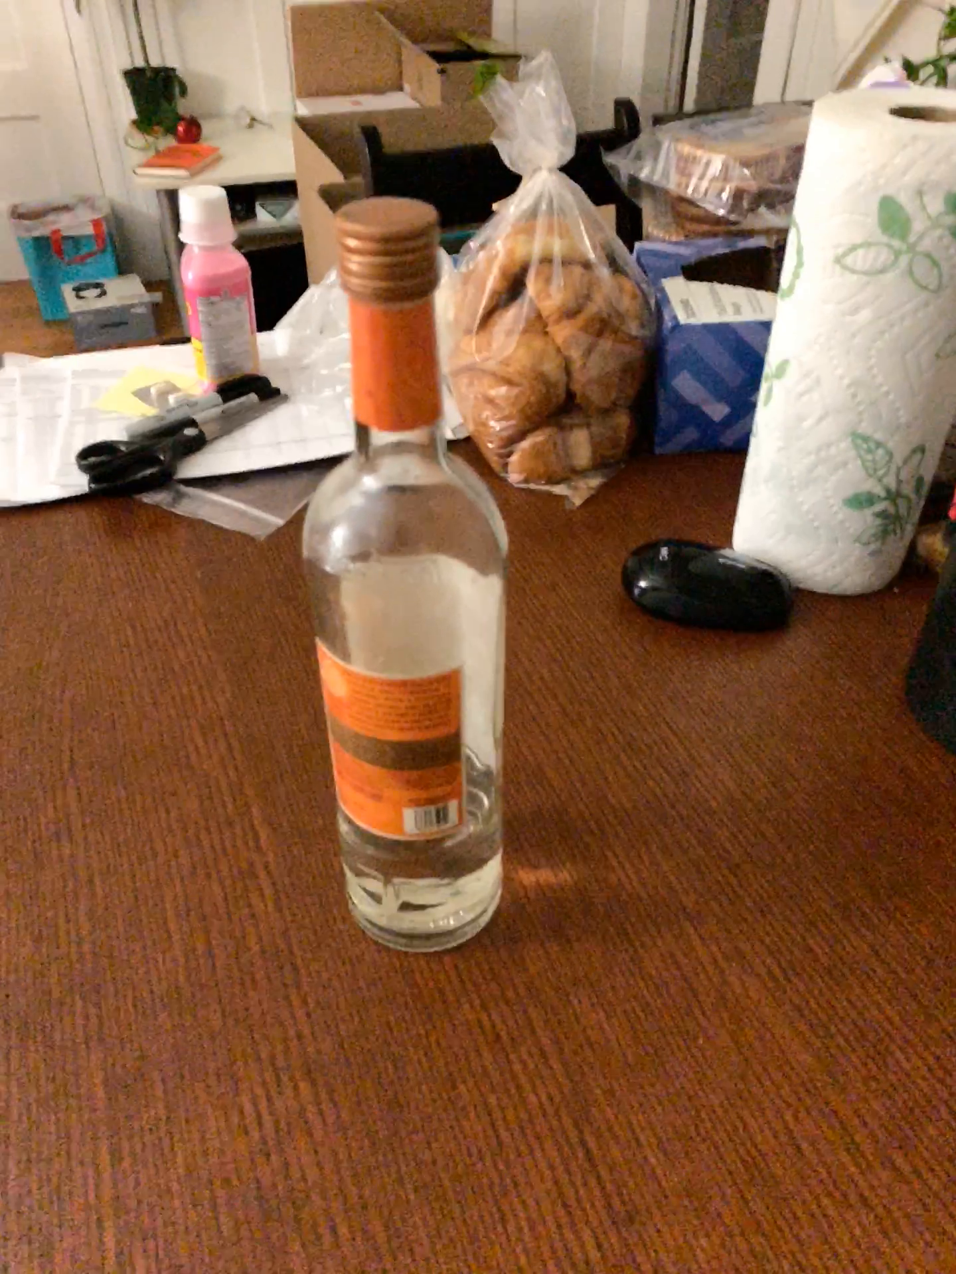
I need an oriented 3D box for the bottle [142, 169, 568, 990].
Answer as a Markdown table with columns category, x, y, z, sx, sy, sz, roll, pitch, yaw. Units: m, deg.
| category | x | y | z | sx | sy | sz | roll | pitch | yaw |
| --- | --- | --- | --- | --- | --- | --- | --- | --- | --- |
| bottle | -0.031 | 0.001 | 0.365 | 0.090 | 0.298 | 0.080 | 15 | 42 | 17 |
